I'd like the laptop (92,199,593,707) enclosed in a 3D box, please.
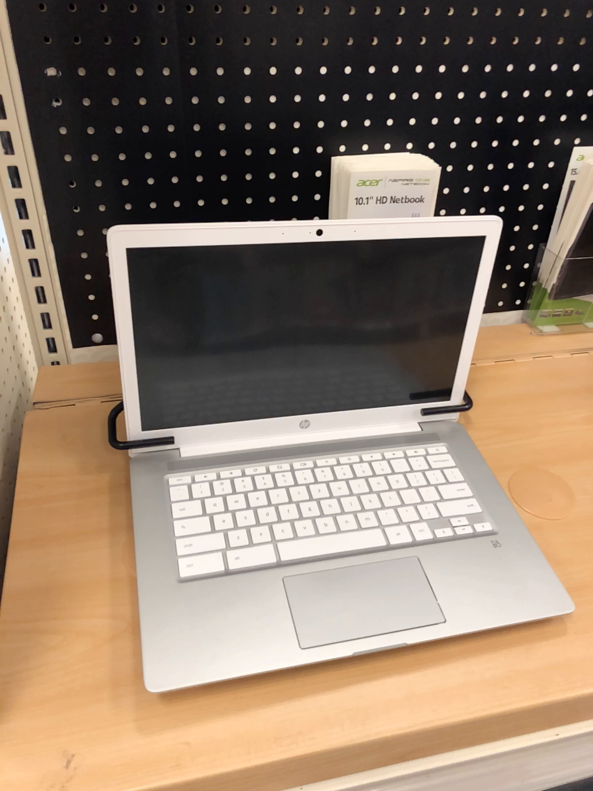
[{"bbox_3d":[0.028,0.011,0.514,0.333,0.198,0.281,-6,40,-14],"label":"laptop"}]
